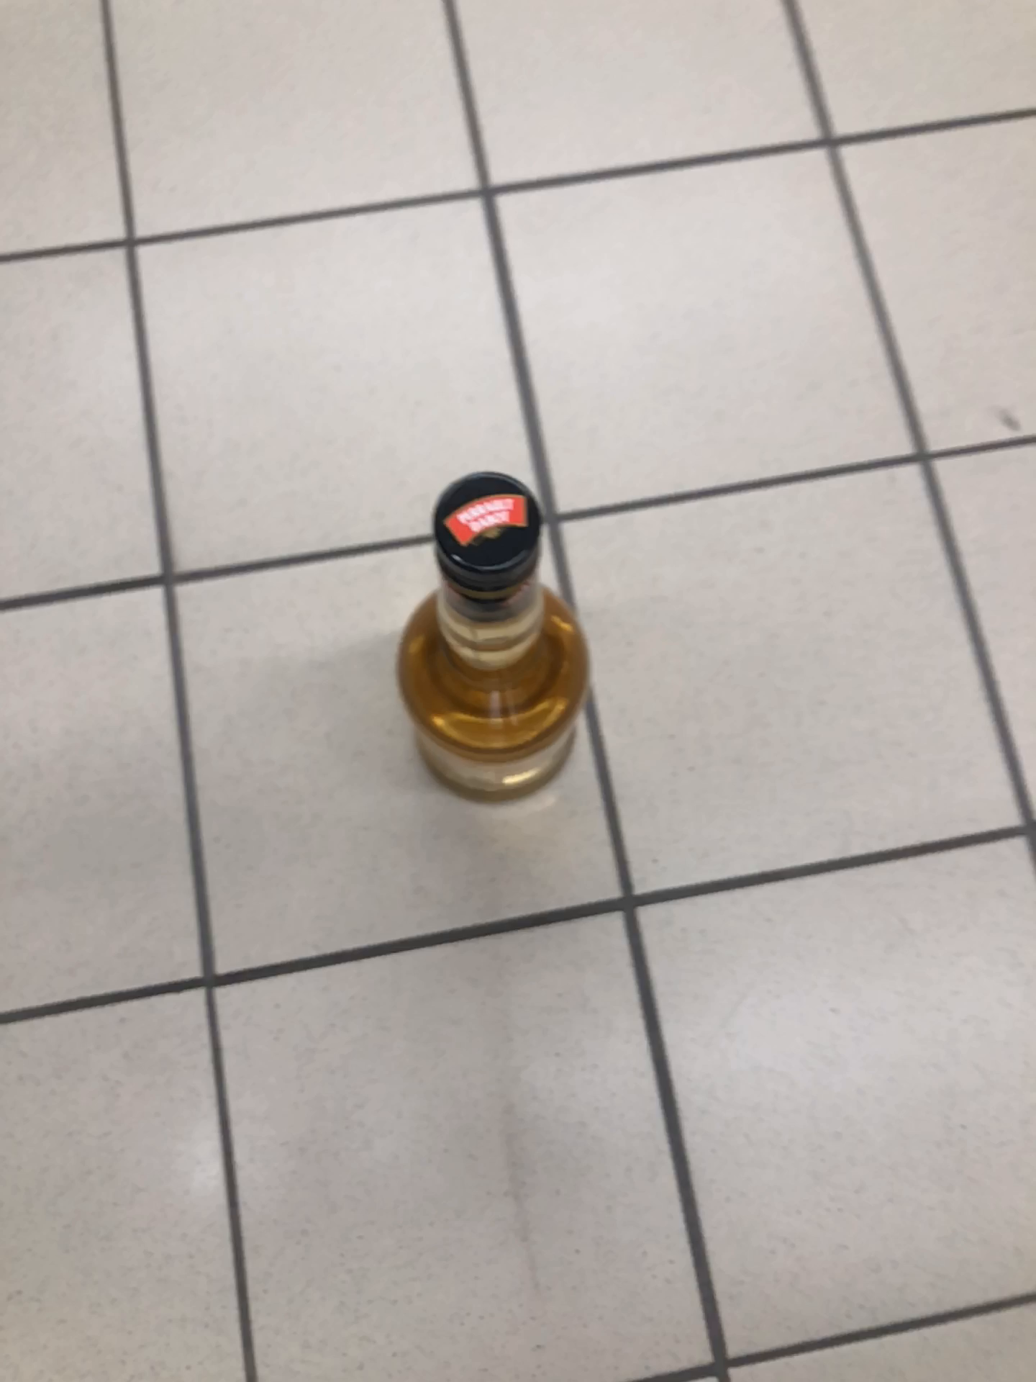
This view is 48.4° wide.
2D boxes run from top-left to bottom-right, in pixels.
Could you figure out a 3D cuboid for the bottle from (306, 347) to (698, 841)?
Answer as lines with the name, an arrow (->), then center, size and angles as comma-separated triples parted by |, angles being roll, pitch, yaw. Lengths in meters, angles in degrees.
bottle -> -0.006, -0.016, 0.452 | 0.080, 0.250, 0.080 | 0, 74, -1
